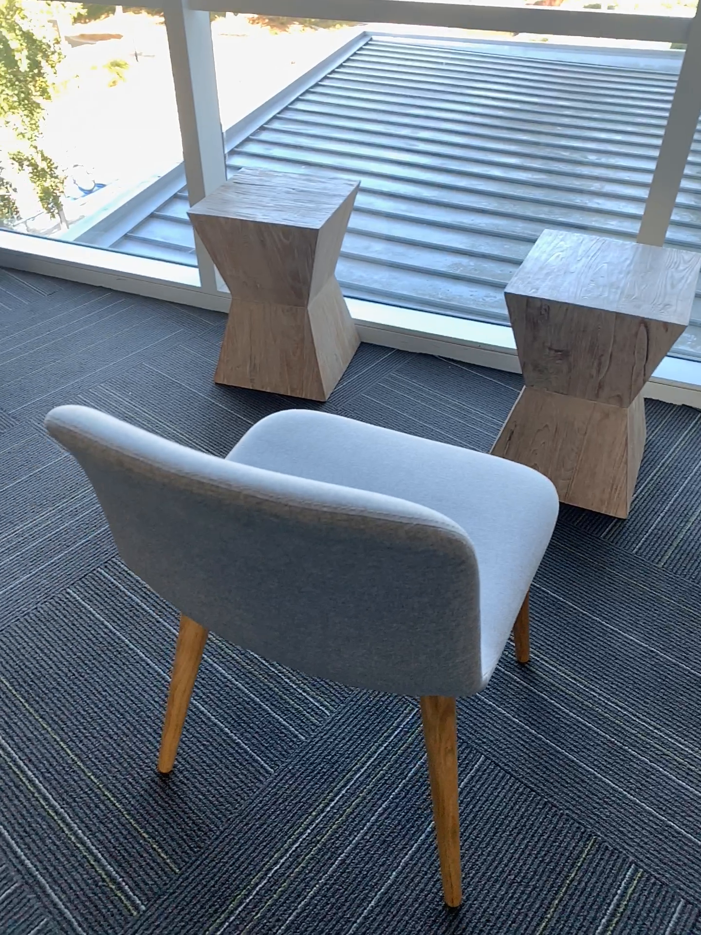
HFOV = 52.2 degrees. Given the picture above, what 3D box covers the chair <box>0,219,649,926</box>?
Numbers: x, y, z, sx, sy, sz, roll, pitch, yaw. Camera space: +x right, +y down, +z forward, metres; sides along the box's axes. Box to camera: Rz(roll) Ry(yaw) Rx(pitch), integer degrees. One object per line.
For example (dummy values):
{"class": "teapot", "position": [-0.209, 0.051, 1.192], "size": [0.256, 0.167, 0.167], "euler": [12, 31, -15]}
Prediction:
{"class": "chair", "position": [0.005, 0.121, 0.959], "size": [0.541, 0.676, 0.472], "euler": [15, 41, 18]}
